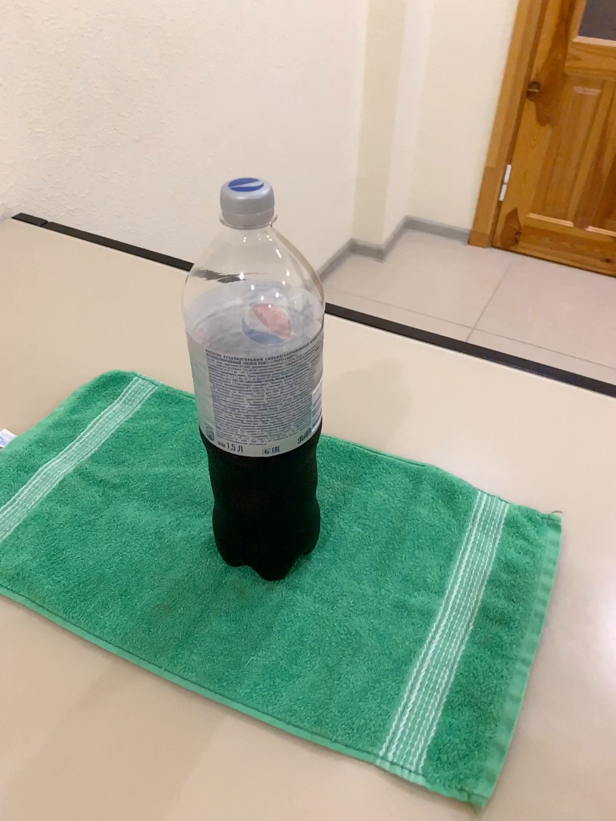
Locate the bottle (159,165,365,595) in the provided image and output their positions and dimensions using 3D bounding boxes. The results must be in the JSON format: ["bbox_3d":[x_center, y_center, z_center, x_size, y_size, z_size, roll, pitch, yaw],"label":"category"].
[{"bbox_3d":[-0.033,-0.003,0.449,0.100,0.298,0.101,1,42,-1],"label":"bottle"}]
